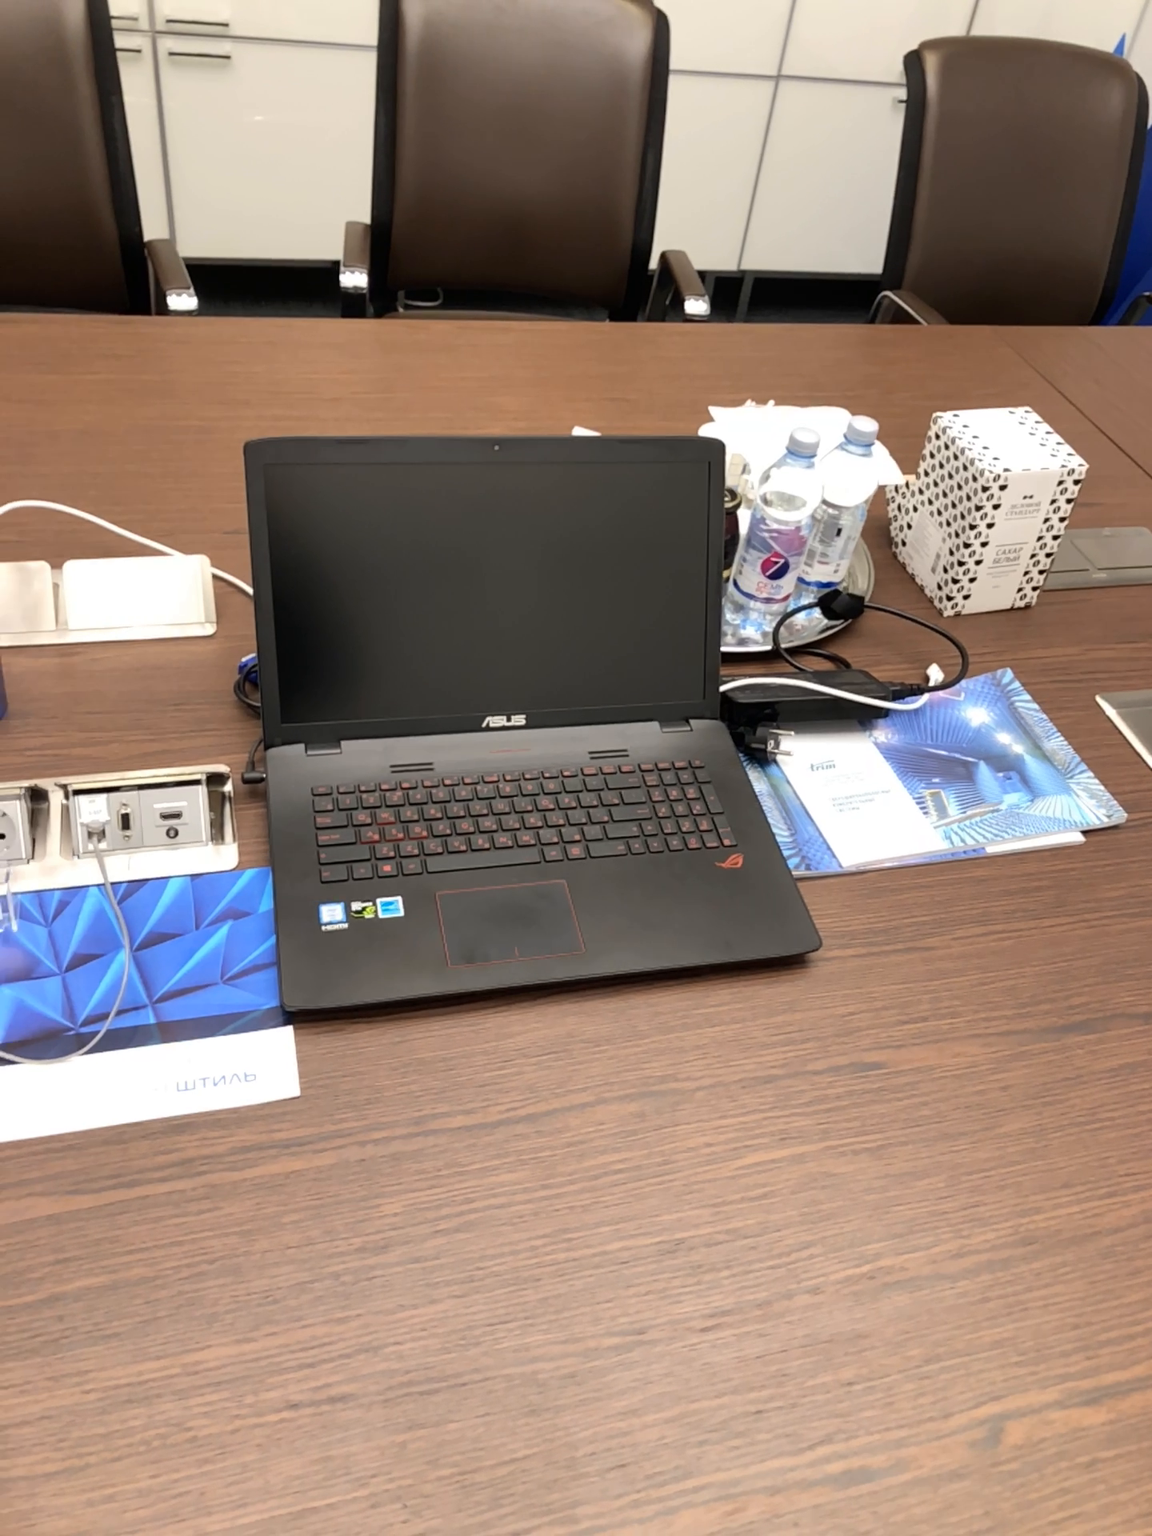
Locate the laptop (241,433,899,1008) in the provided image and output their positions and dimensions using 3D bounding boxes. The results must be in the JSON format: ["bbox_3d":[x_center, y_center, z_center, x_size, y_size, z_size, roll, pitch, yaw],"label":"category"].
[{"bbox_3d":[-0.036,-0.059,0.926,0.379,0.194,0.370,-4,45,-14],"label":"laptop"}]
